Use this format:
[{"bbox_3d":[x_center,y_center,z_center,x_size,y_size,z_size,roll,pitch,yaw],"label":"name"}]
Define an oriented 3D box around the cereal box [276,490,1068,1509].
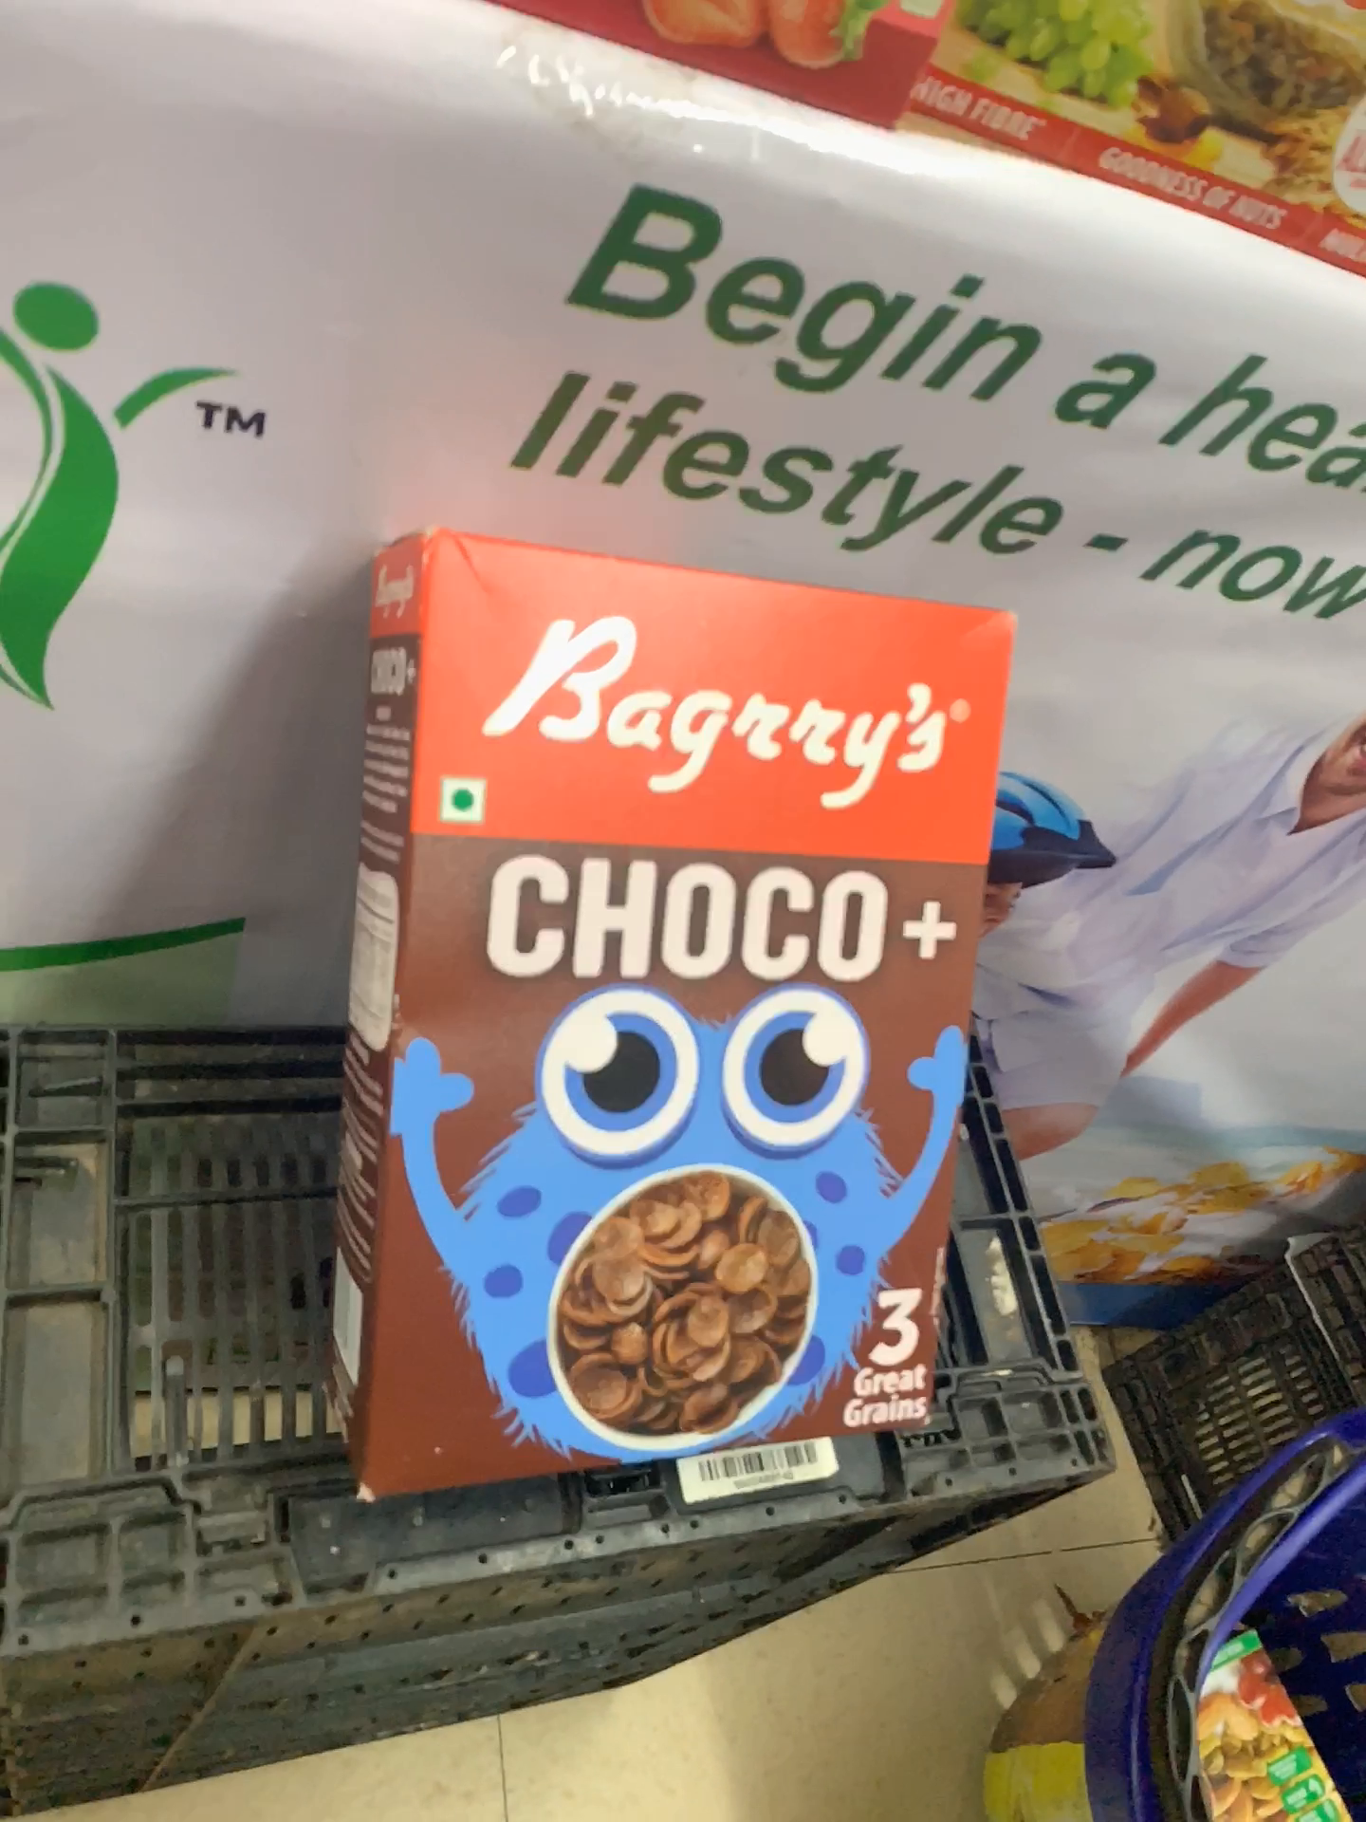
[{"bbox_3d":[-0.006,0.023,0.396,0.190,0.080,0.240,2,96,-23],"label":"cereal box"}]
